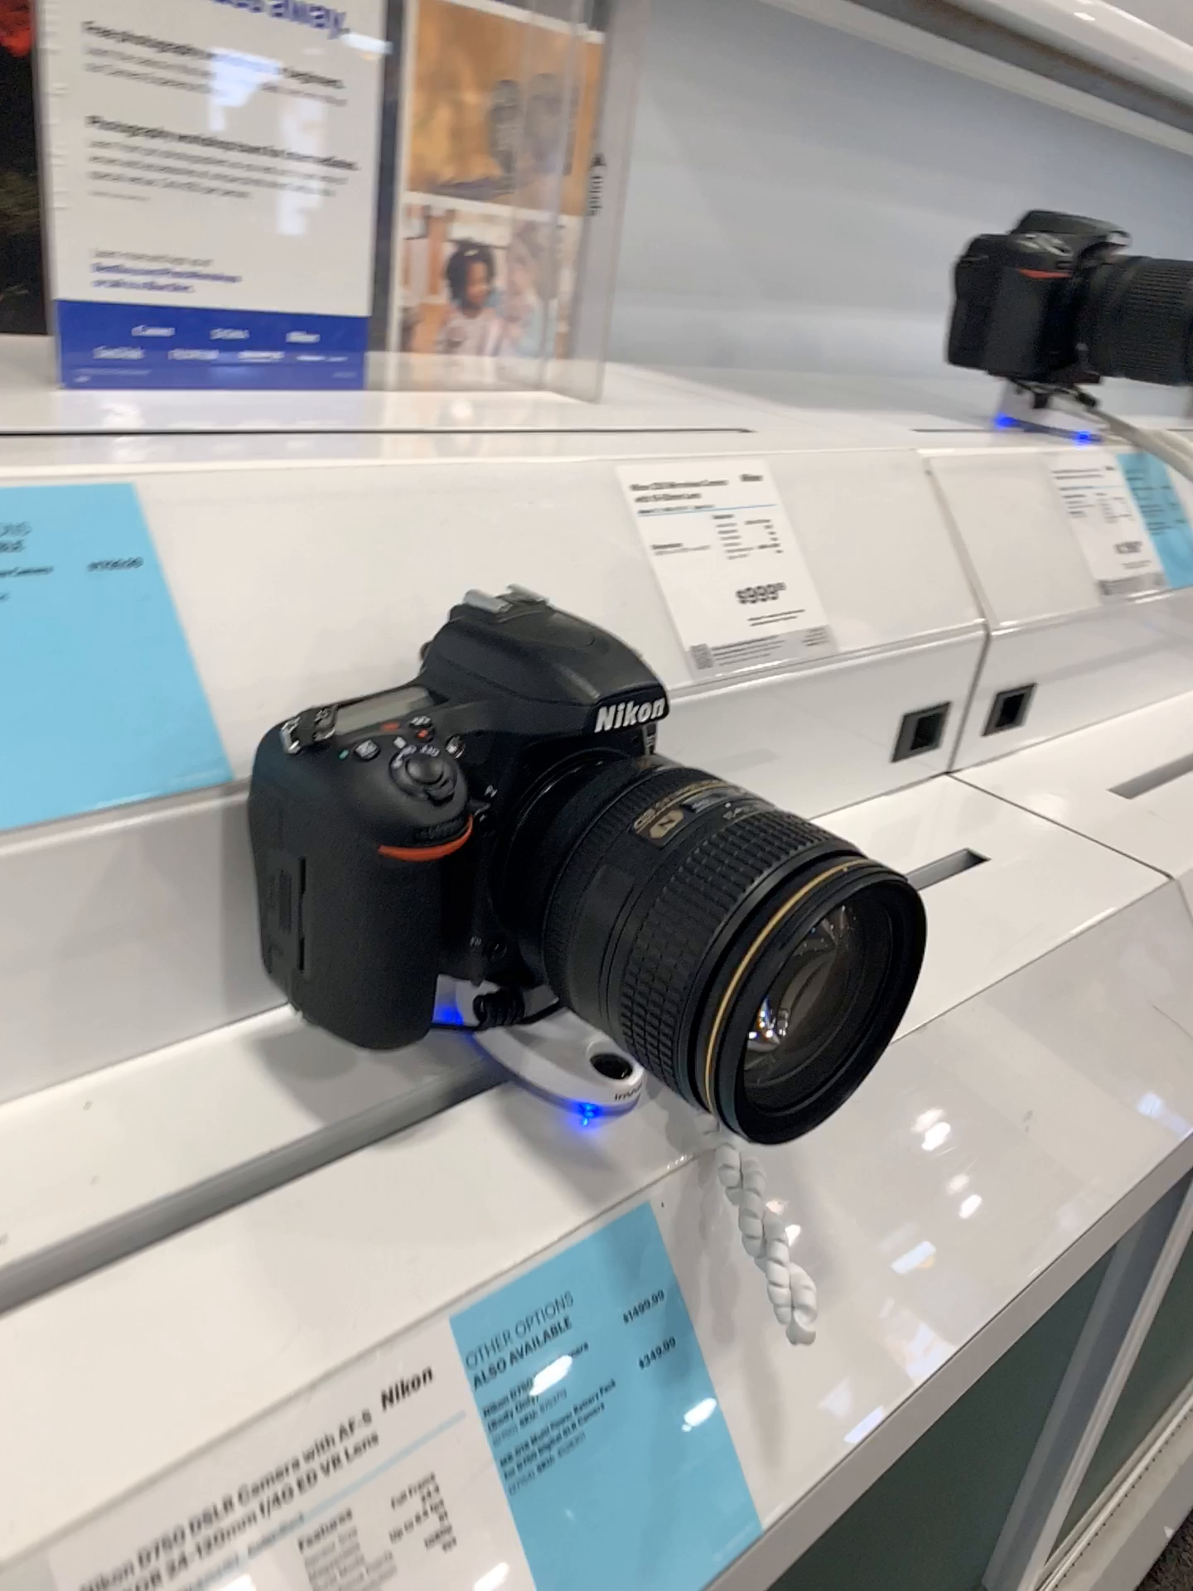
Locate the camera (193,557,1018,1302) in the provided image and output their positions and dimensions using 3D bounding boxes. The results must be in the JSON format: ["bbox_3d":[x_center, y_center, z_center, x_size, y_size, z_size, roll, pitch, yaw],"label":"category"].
[{"bbox_3d":[-0.005,0.016,0.360,0.180,0.111,0.140,27,31,35],"label":"camera"}]
